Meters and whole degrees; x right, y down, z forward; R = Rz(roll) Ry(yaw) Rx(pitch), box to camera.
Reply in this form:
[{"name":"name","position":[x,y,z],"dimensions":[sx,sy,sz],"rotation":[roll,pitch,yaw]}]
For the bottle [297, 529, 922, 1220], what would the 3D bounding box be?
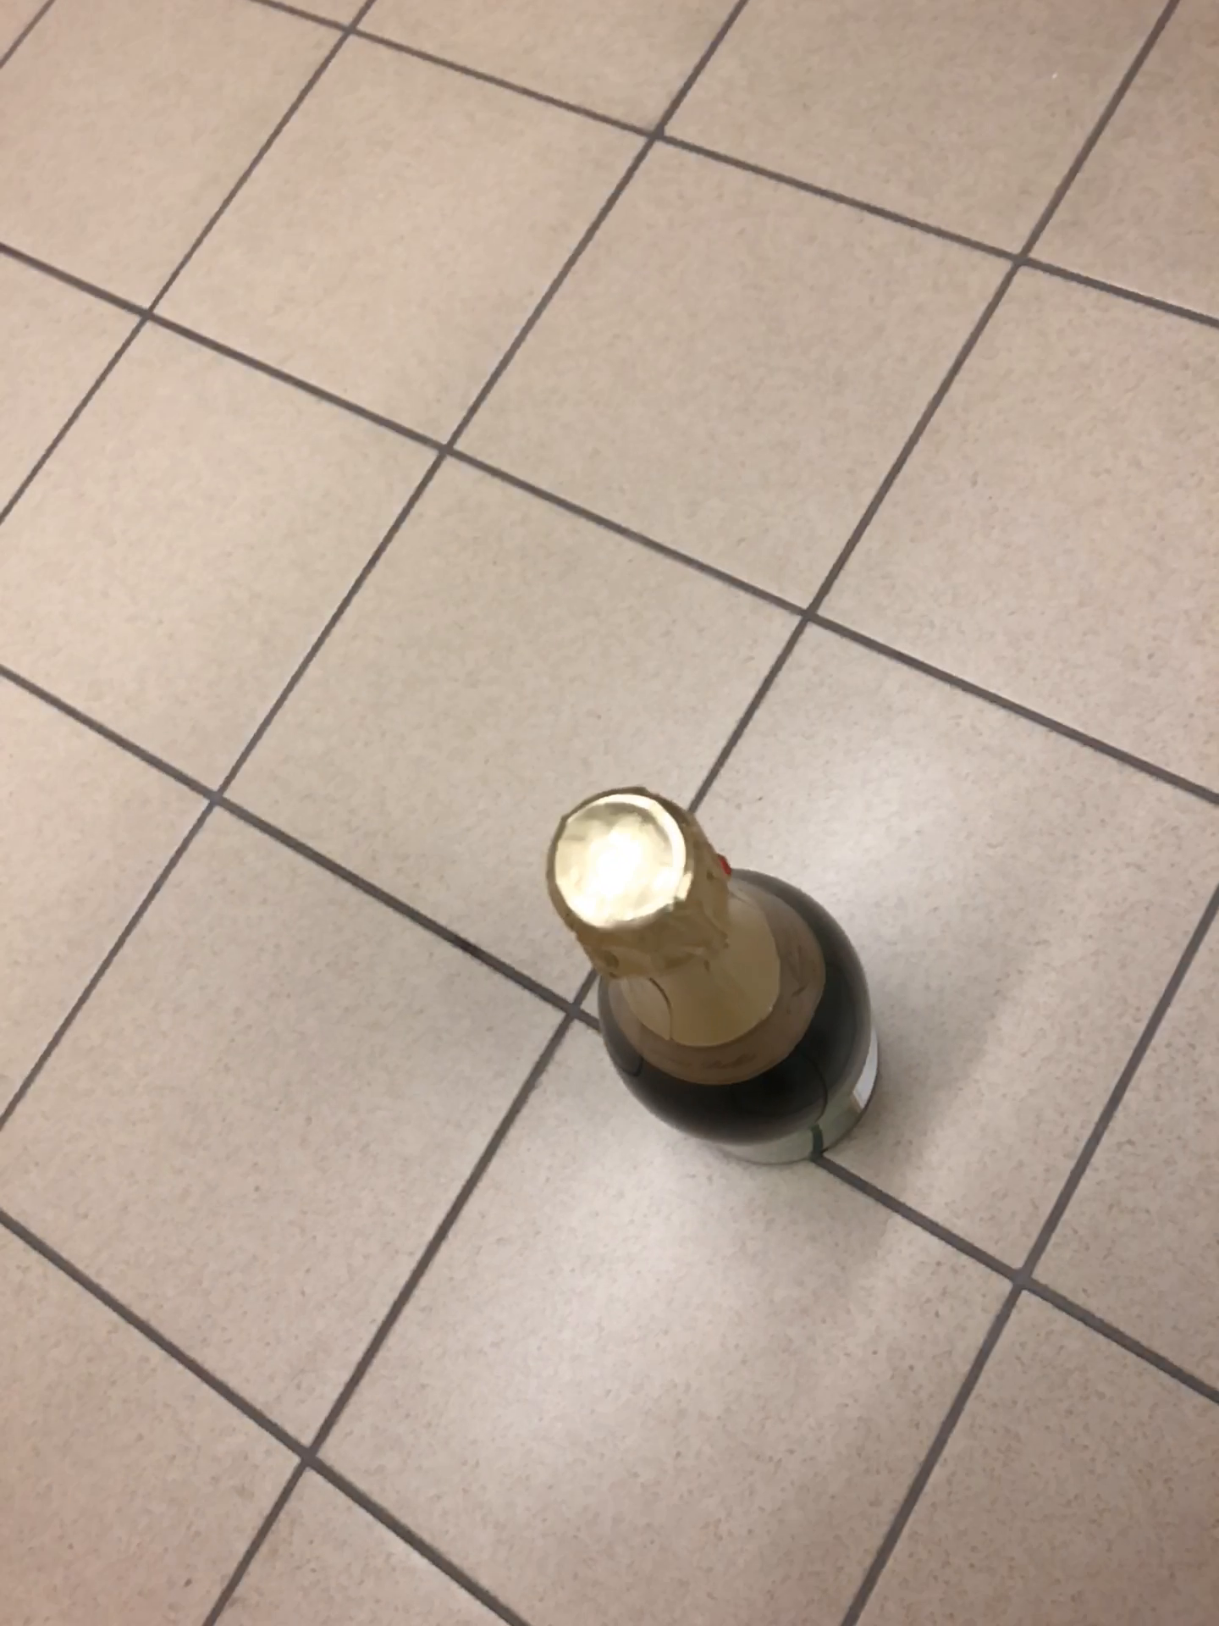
[{"name":"bottle","position":[0.026,0.050,0.391],"dimensions":[0.090,0.300,0.100],"rotation":[-24,69,4]}]
